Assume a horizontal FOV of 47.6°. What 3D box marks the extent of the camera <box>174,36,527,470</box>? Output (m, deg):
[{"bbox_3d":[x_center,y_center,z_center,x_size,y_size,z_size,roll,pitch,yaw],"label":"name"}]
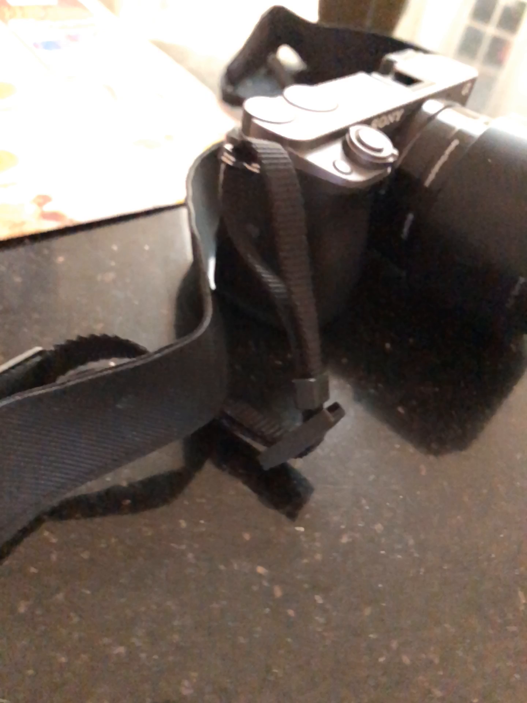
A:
[{"bbox_3d":[0.056,-0.049,0.216,0.110,0.070,0.131,37,49,22],"label":"camera"}]
